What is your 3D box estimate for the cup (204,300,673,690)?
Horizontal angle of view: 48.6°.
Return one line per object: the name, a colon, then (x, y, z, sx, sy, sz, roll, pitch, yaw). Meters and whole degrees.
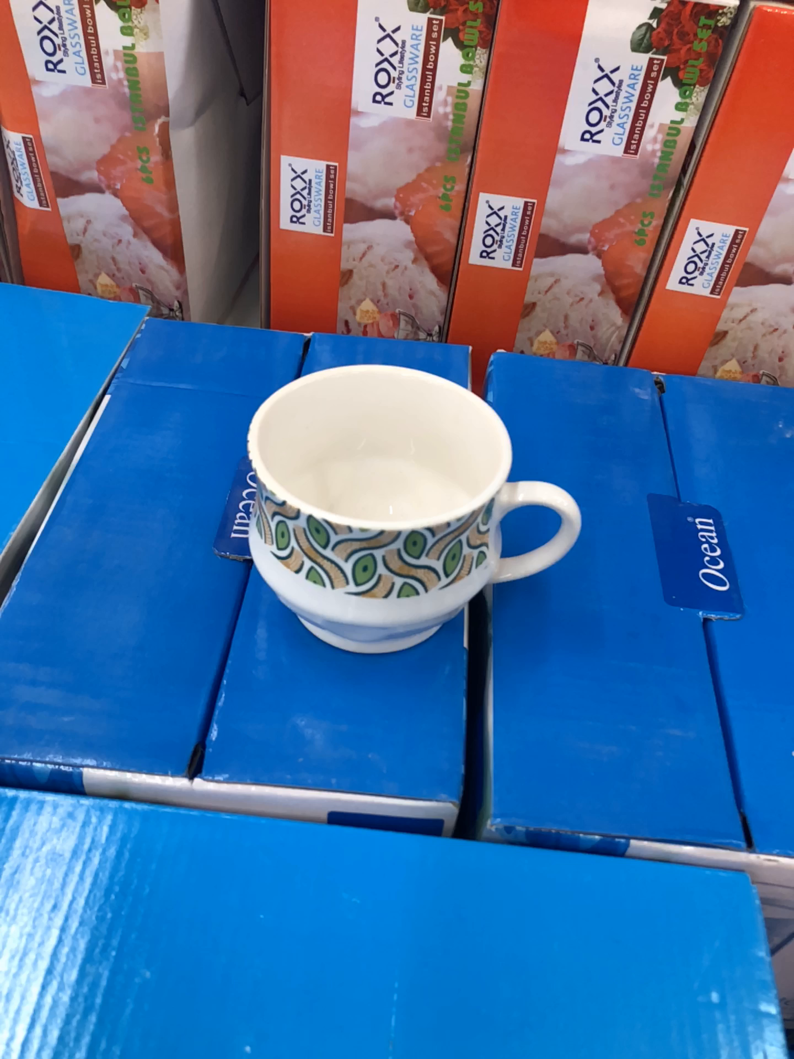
cup: (0.008, -0.009, 0.232, 0.100, 0.060, 0.070, 6, 46, -2)
